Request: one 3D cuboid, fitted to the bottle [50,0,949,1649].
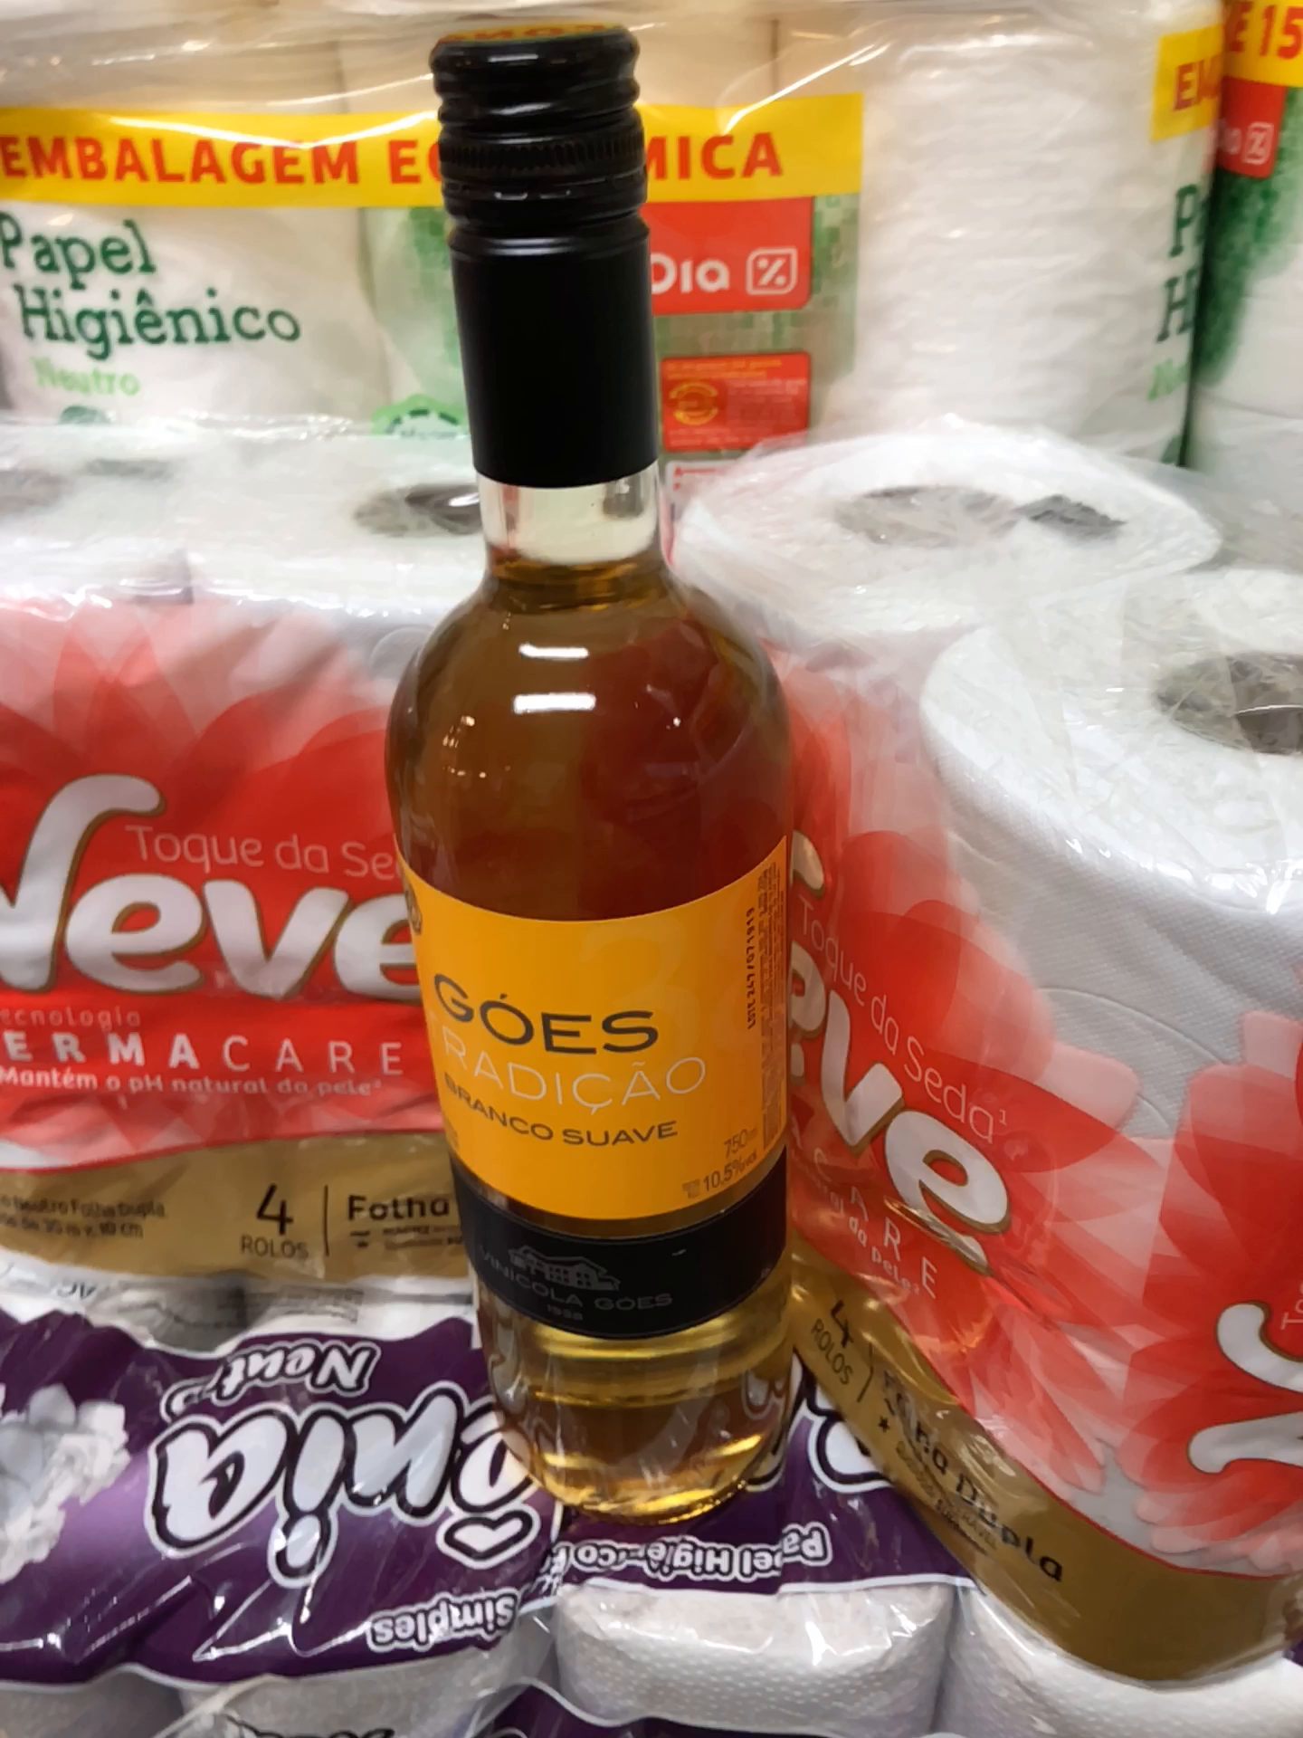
[{"bbox_3d":[-0.006,0.008,0.289,0.090,0.317,0.091,-4,33,2],"label":"bottle"}]
